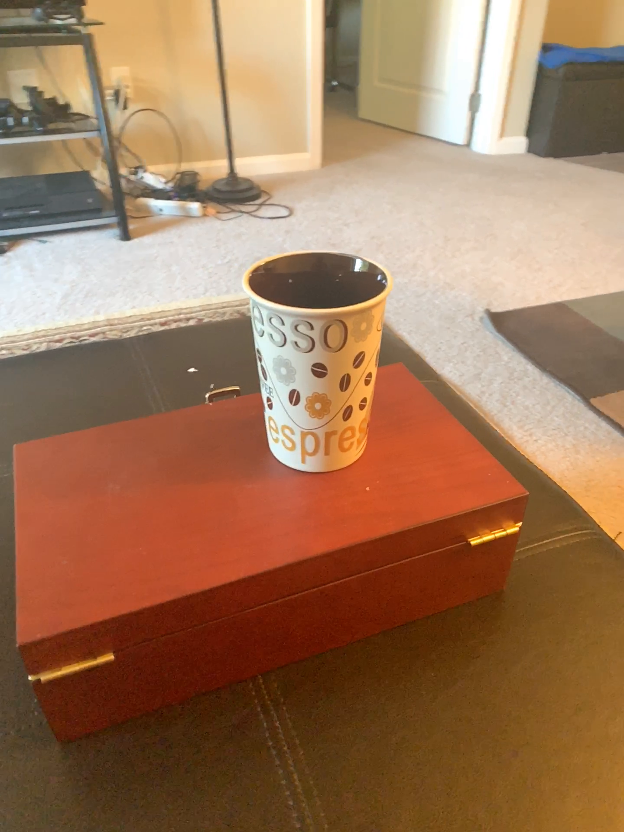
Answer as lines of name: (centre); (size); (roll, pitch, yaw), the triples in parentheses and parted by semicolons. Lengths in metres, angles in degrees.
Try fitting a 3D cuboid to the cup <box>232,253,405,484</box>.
cup: (0.003, -0.032, 0.406); (0.090, 0.109, 0.101); (0, 35, 0)
